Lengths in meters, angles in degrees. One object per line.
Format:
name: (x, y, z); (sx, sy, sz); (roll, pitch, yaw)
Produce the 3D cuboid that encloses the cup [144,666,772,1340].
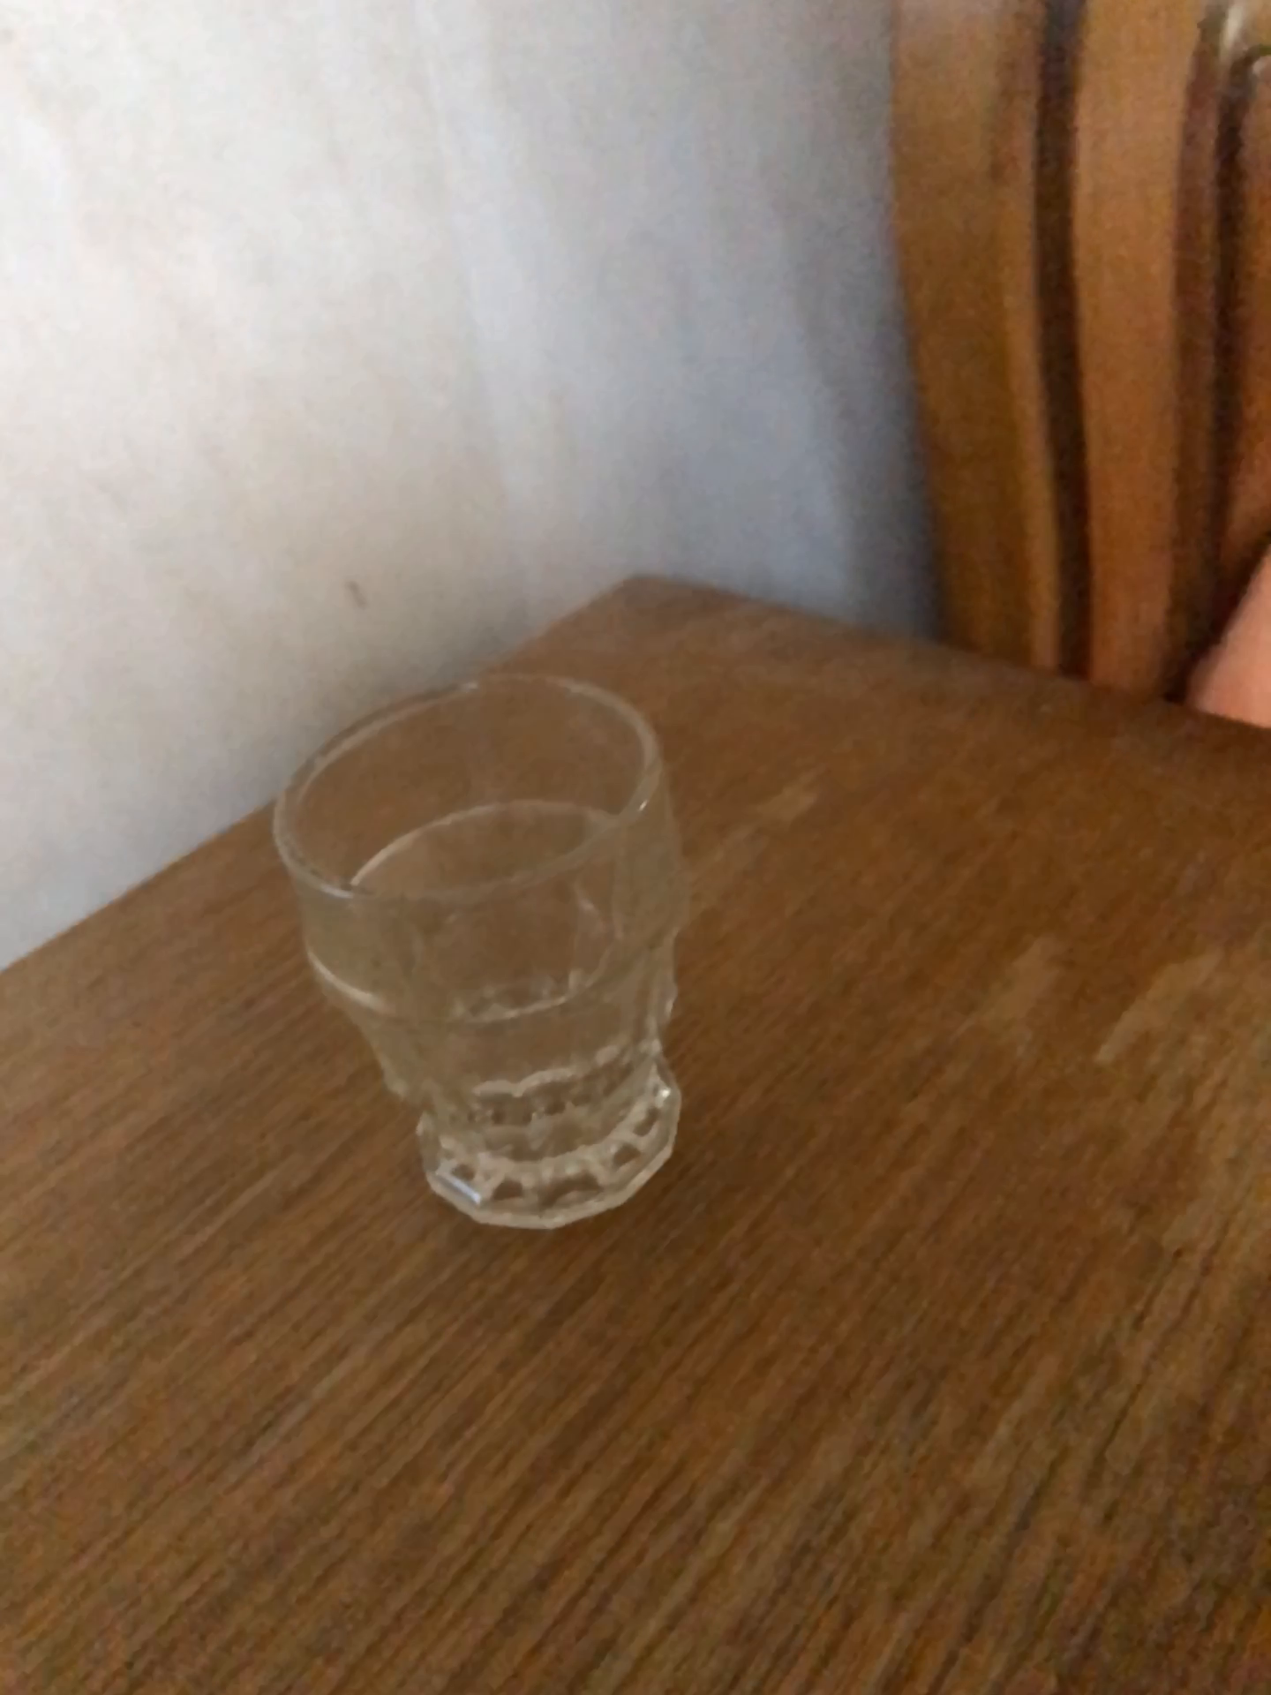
cup: (-0.020, 0.020, 0.213); (0.060, 0.070, 0.060); (-6, 33, 4)
